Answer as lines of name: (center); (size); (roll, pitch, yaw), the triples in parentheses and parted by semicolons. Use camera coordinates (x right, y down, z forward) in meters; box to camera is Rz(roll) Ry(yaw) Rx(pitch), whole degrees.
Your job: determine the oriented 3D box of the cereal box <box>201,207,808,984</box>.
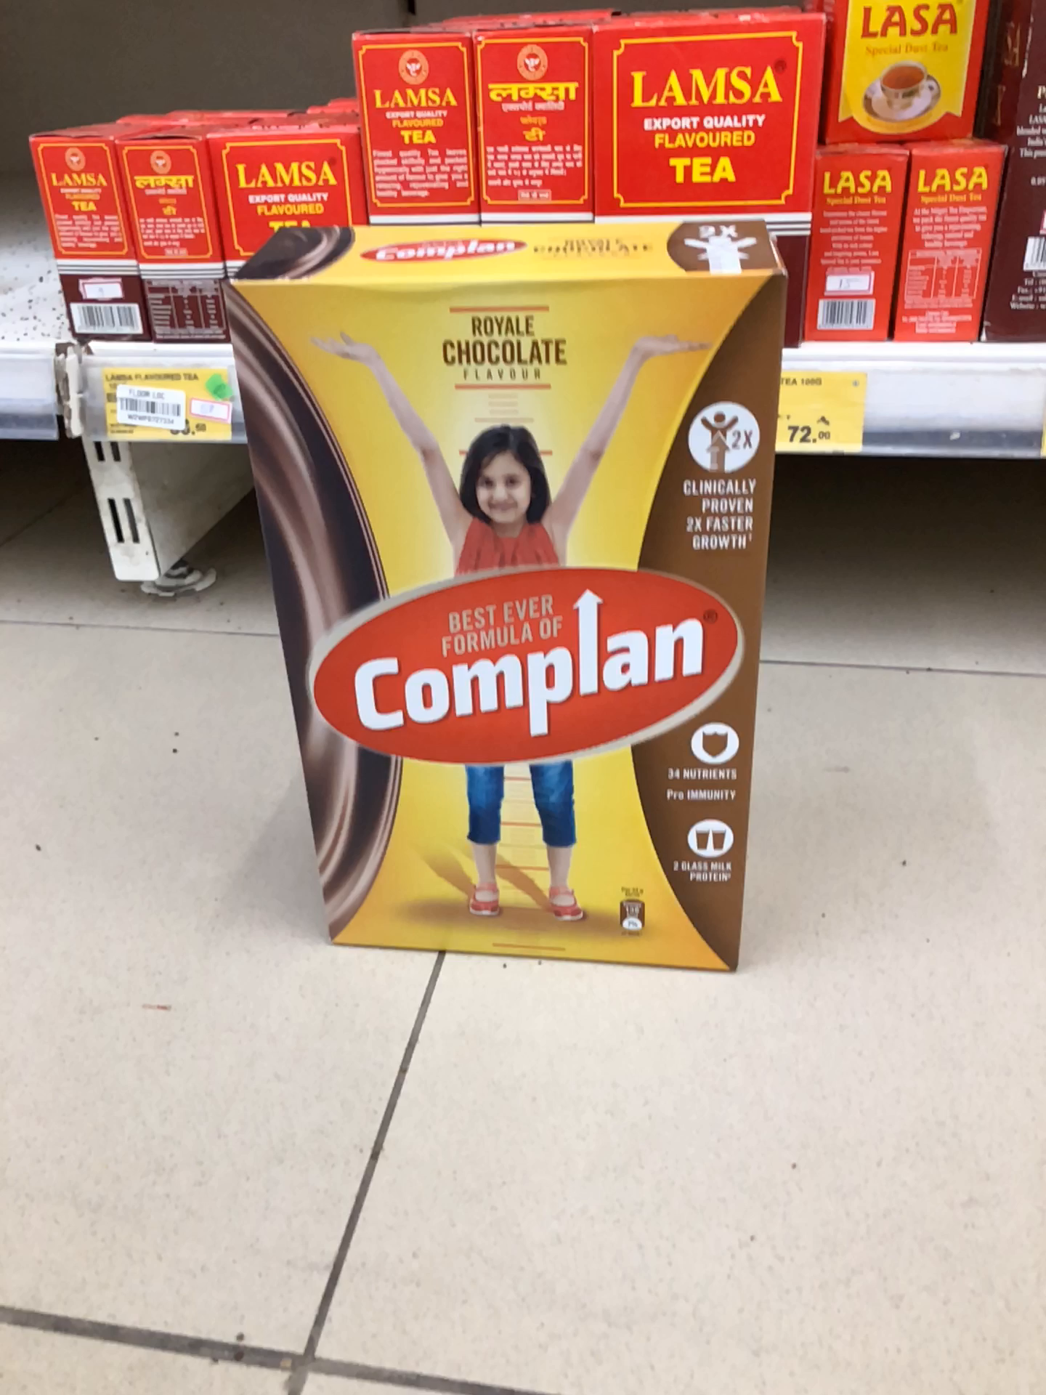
cereal box: (0.002, -0.027, 0.392); (0.160, 0.248, 0.070); (2, 30, 8)
